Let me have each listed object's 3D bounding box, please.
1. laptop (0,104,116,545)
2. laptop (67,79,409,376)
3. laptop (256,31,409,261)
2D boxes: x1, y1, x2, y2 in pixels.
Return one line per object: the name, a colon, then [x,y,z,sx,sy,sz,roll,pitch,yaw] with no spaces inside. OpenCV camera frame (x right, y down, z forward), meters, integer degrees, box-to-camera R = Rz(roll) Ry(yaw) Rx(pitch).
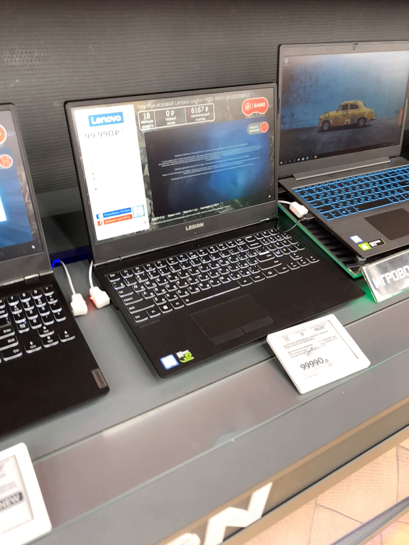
laptop: [-0.329,0.005,0.465,0.353,0.223,0.315,-18,44,-28]
laptop: [0.033,-0.100,0.647,0.353,0.225,0.302,-17,44,-26]
laptop: [0.346,-0.264,0.834,0.355,0.225,0.335,-16,47,-25]
